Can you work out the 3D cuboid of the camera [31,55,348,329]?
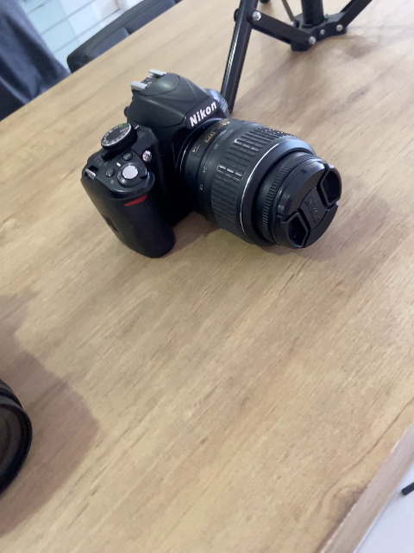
[{"bbox_3d":[-0.016,-0.076,0.316,0.130,0.090,0.181,-43,49,-16],"label":"camera"}]
